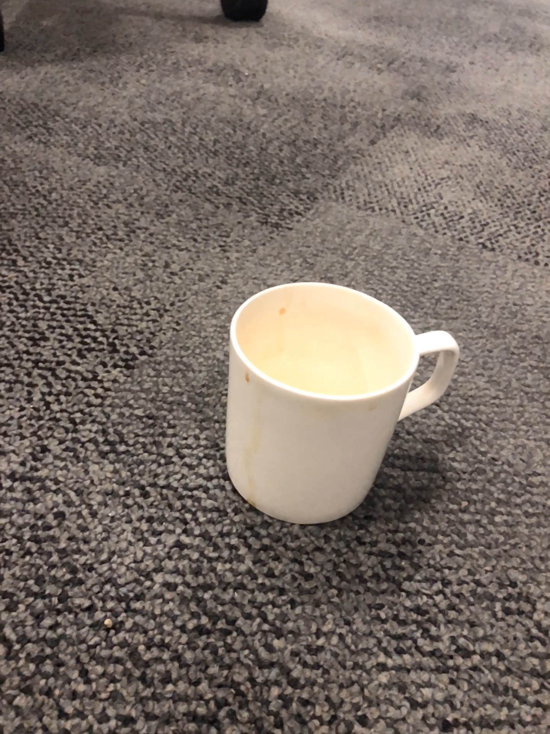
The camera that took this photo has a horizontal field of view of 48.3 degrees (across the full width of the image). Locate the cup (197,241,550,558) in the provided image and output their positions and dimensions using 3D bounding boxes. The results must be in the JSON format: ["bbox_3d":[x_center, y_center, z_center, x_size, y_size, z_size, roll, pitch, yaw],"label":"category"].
[{"bbox_3d":[0.031,0.007,0.233,0.100,0.070,0.070,-14,45,-23],"label":"cup"}]
